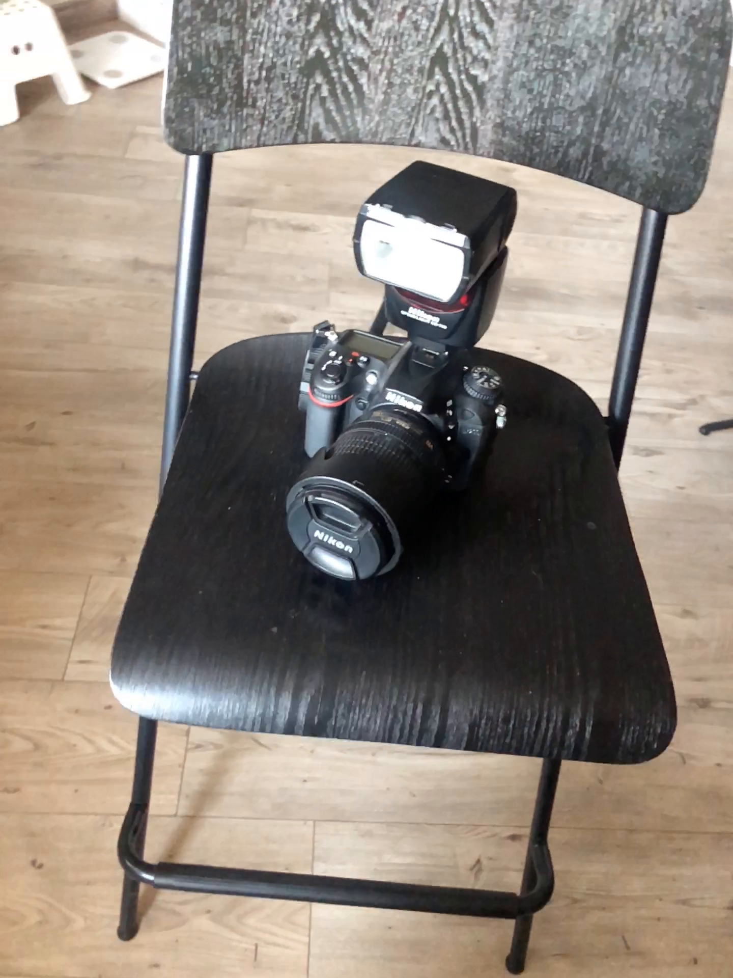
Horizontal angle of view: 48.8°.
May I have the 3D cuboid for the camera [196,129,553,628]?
[{"bbox_3d":[0.008,-0.063,0.489,0.125,0.217,0.168,20,50,14],"label":"camera"}]
